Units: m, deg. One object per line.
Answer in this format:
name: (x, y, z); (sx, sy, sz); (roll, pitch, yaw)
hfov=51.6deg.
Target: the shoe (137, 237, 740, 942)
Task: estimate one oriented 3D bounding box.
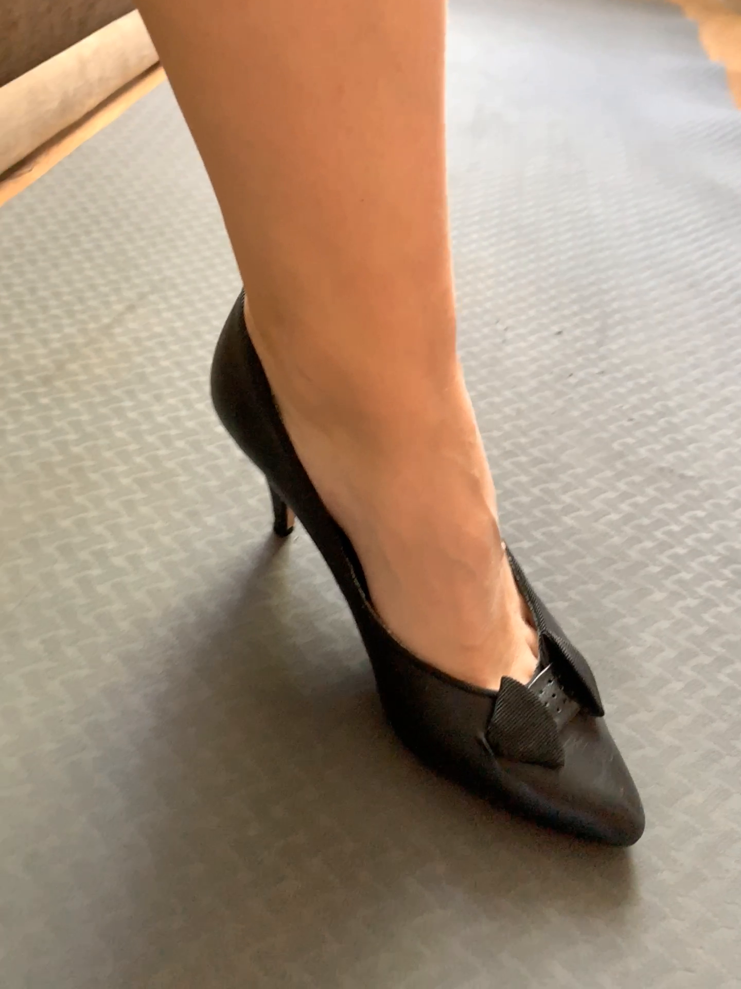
shoe: (0.025, 0.014, 0.271); (0.090, 0.099, 0.231); (-31, 57, -34)
